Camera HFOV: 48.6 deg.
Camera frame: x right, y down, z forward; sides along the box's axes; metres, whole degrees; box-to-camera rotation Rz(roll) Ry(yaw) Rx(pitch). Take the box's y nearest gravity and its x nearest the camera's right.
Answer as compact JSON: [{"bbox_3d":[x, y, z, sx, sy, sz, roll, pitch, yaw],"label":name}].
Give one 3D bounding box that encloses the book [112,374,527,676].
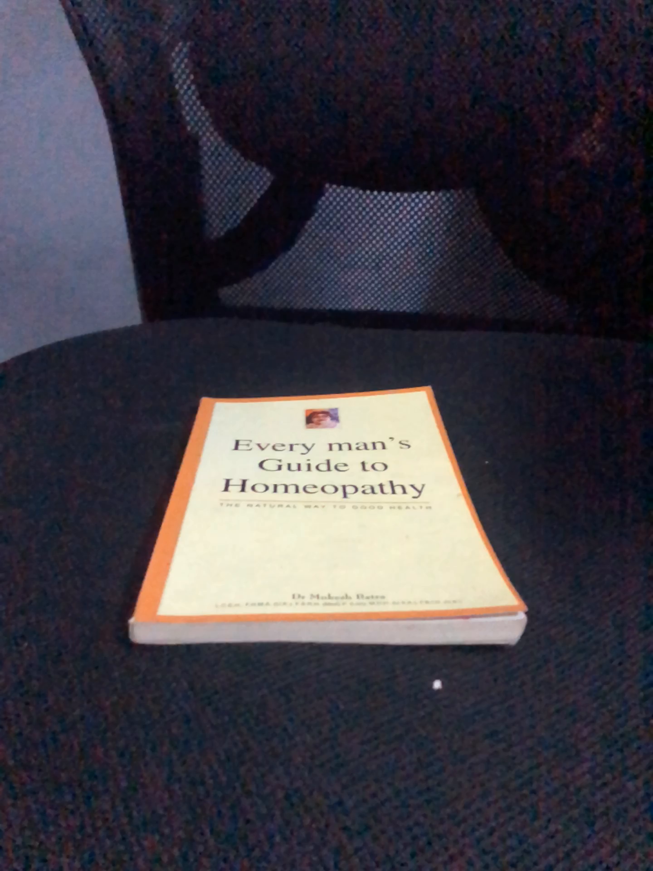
[{"bbox_3d":[-0.005,0.024,0.342,0.140,0.026,0.208,-2,26,-1],"label":"book"}]
